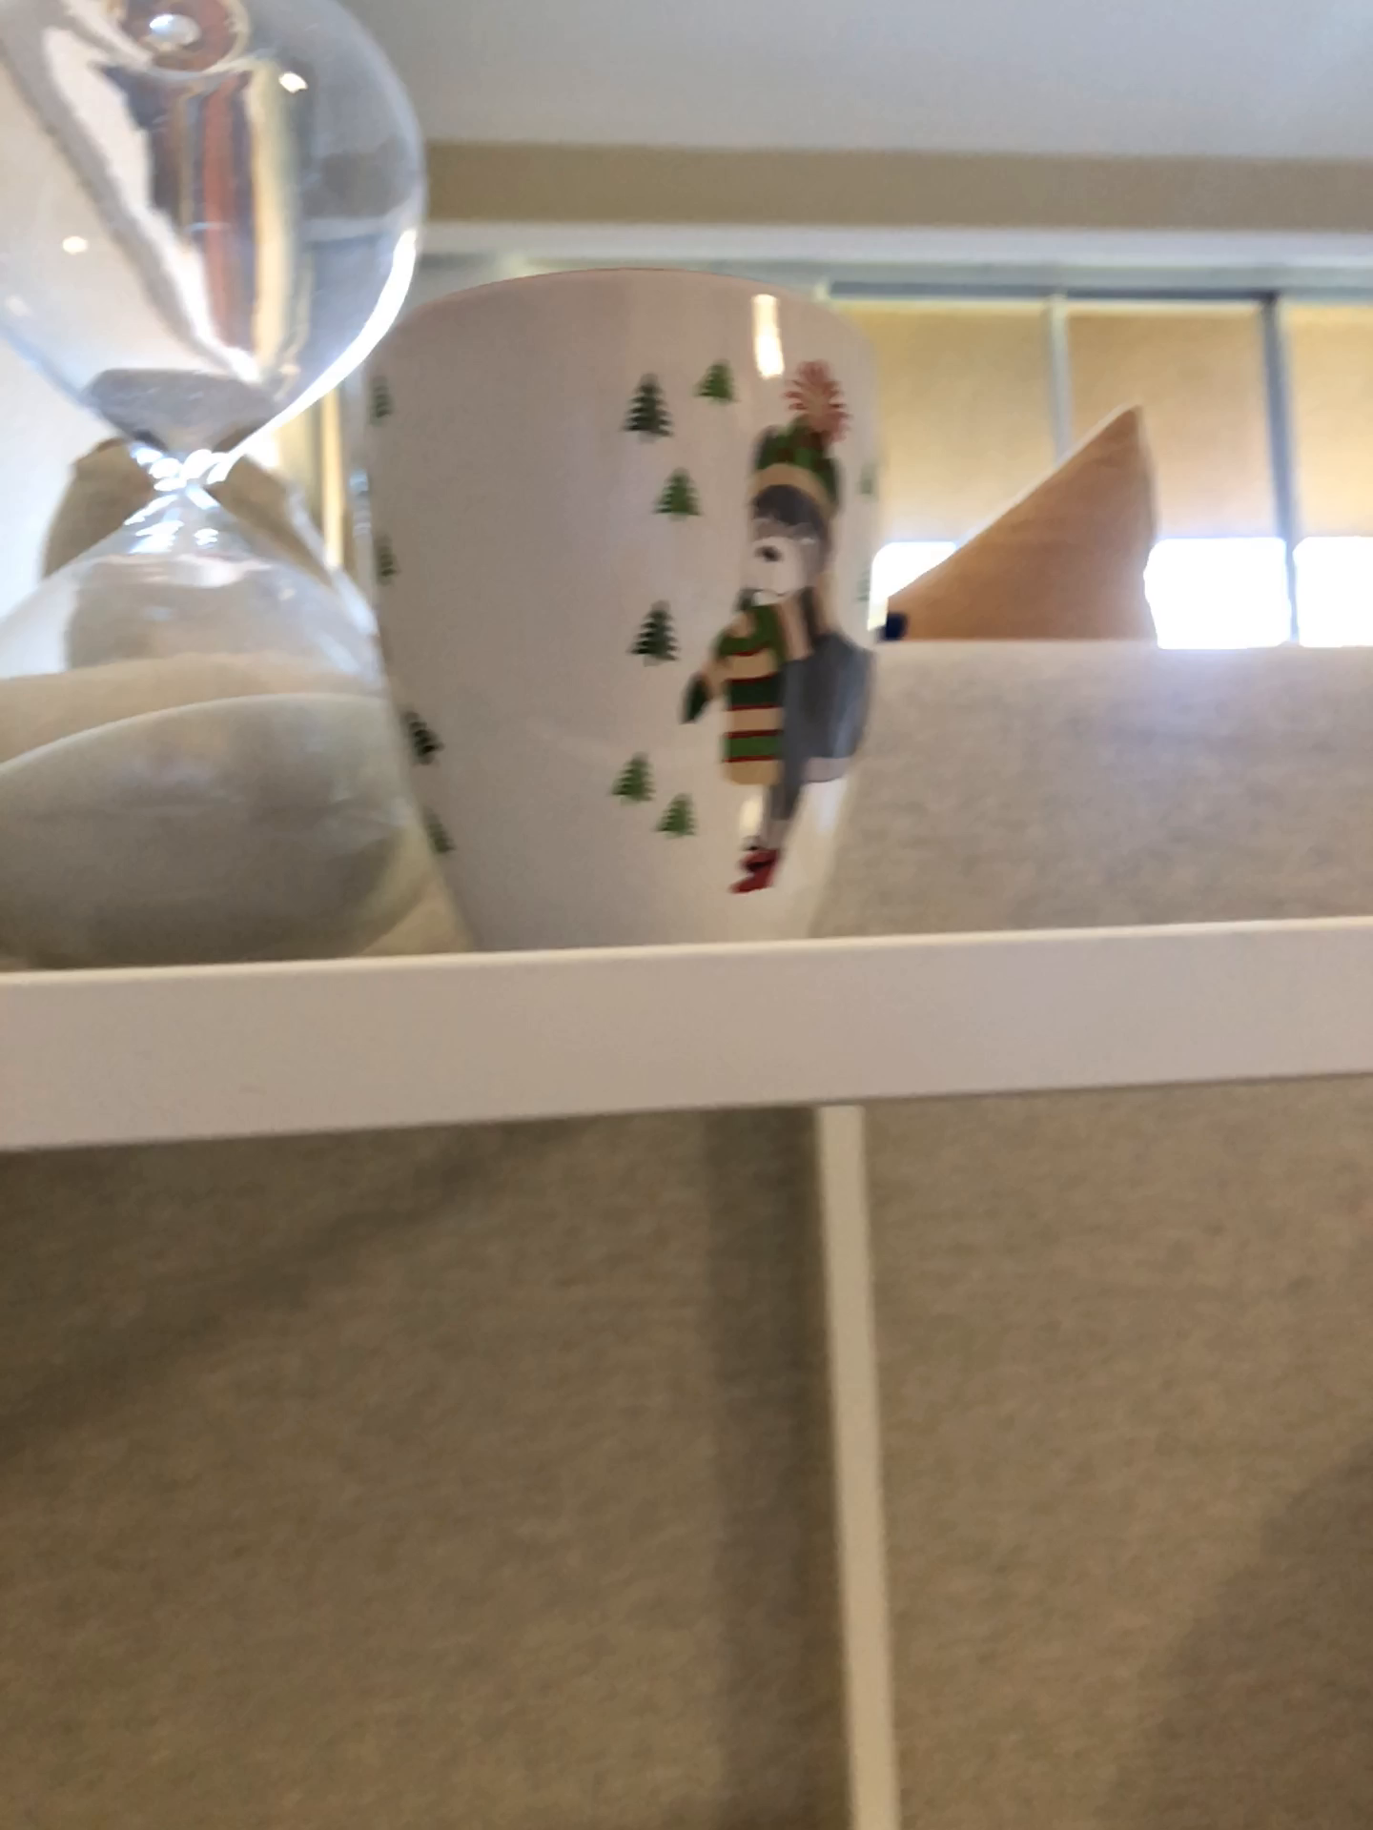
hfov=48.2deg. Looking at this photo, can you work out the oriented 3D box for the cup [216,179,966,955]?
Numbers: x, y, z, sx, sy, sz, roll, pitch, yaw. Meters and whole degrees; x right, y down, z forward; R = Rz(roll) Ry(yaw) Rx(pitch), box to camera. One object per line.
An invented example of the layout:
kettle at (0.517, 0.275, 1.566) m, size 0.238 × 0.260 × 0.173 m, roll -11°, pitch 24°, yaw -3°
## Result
cup at (-0.006, -0.050, 0.310) m, size 0.100 × 0.110 × 0.150 m, roll -3°, pitch -2°, yaw 17°
